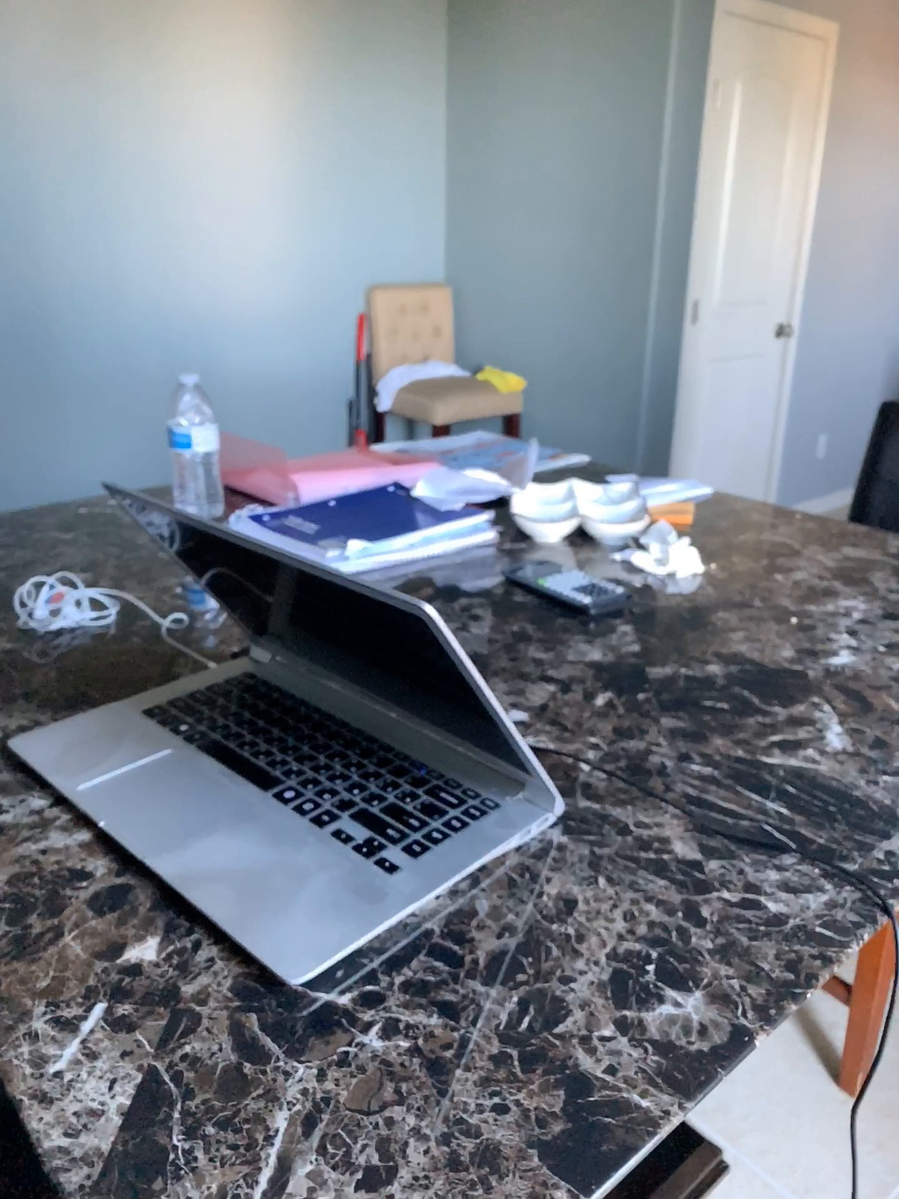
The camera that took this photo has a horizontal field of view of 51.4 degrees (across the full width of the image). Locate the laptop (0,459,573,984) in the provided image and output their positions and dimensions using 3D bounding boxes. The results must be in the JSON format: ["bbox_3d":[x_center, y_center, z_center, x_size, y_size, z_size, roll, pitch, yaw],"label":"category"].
[{"bbox_3d":[-0.134,0.040,0.663,0.362,0.188,0.234,20,28,40],"label":"laptop"}]
